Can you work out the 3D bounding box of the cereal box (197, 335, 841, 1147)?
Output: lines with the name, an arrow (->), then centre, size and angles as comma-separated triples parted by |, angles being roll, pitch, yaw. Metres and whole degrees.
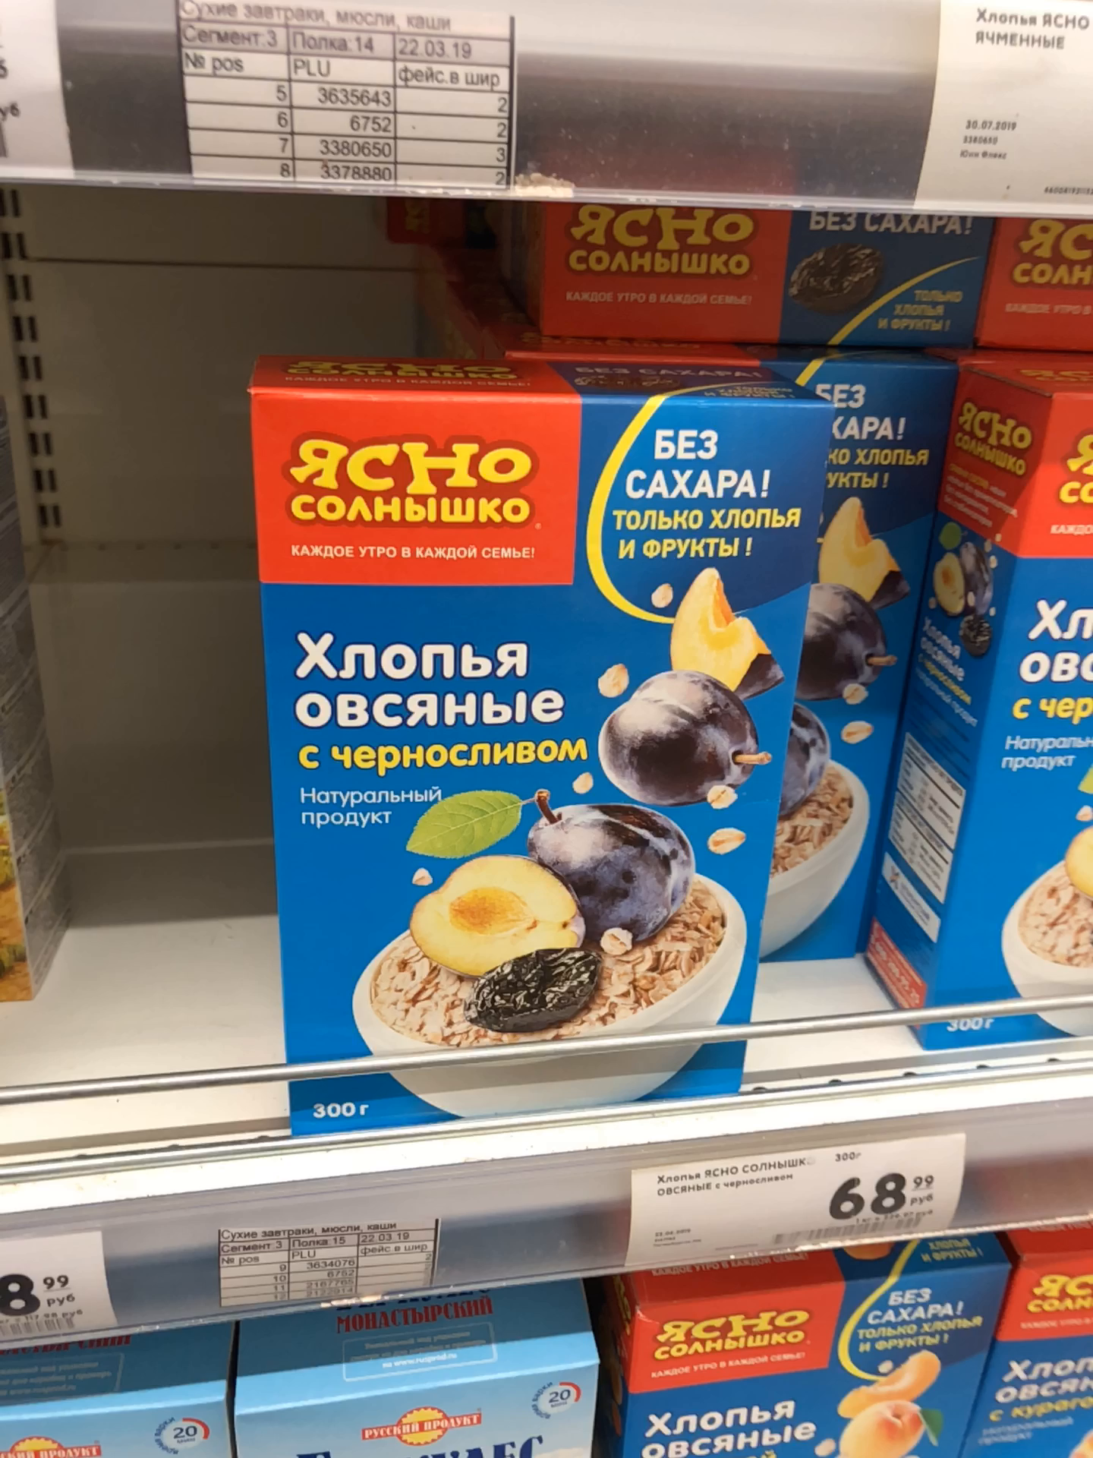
cereal box -> -0.011, 0.008, 0.327 | 0.140, 0.209, 0.050 | -2, 25, -9
